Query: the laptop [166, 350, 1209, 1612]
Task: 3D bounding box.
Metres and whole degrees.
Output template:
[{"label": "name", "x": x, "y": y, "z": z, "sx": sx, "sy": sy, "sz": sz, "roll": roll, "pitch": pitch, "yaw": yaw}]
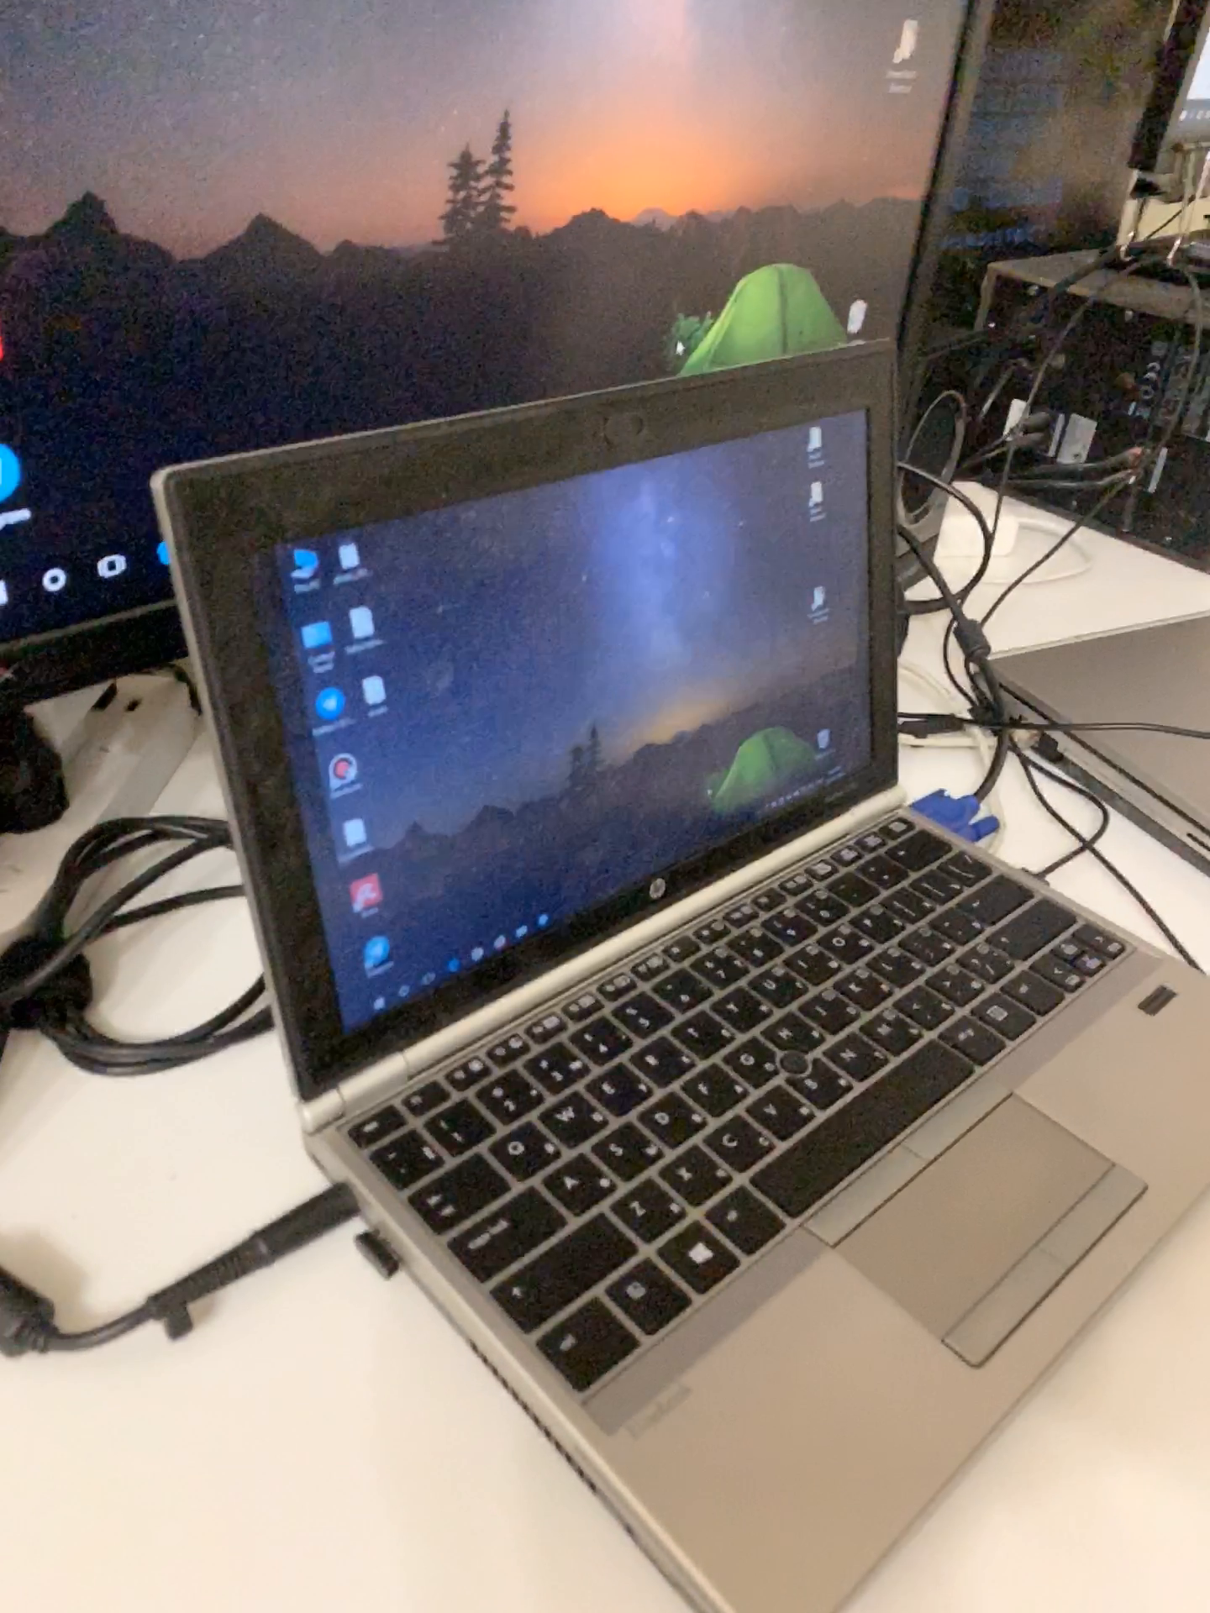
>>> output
[{"label": "laptop", "x": 0.071, "y": 0.001, "z": 0.353, "sx": 0.285, "sy": 0.176, "sz": 0.226, "roll": -24, "pitch": 43, "yaw": -37}]
